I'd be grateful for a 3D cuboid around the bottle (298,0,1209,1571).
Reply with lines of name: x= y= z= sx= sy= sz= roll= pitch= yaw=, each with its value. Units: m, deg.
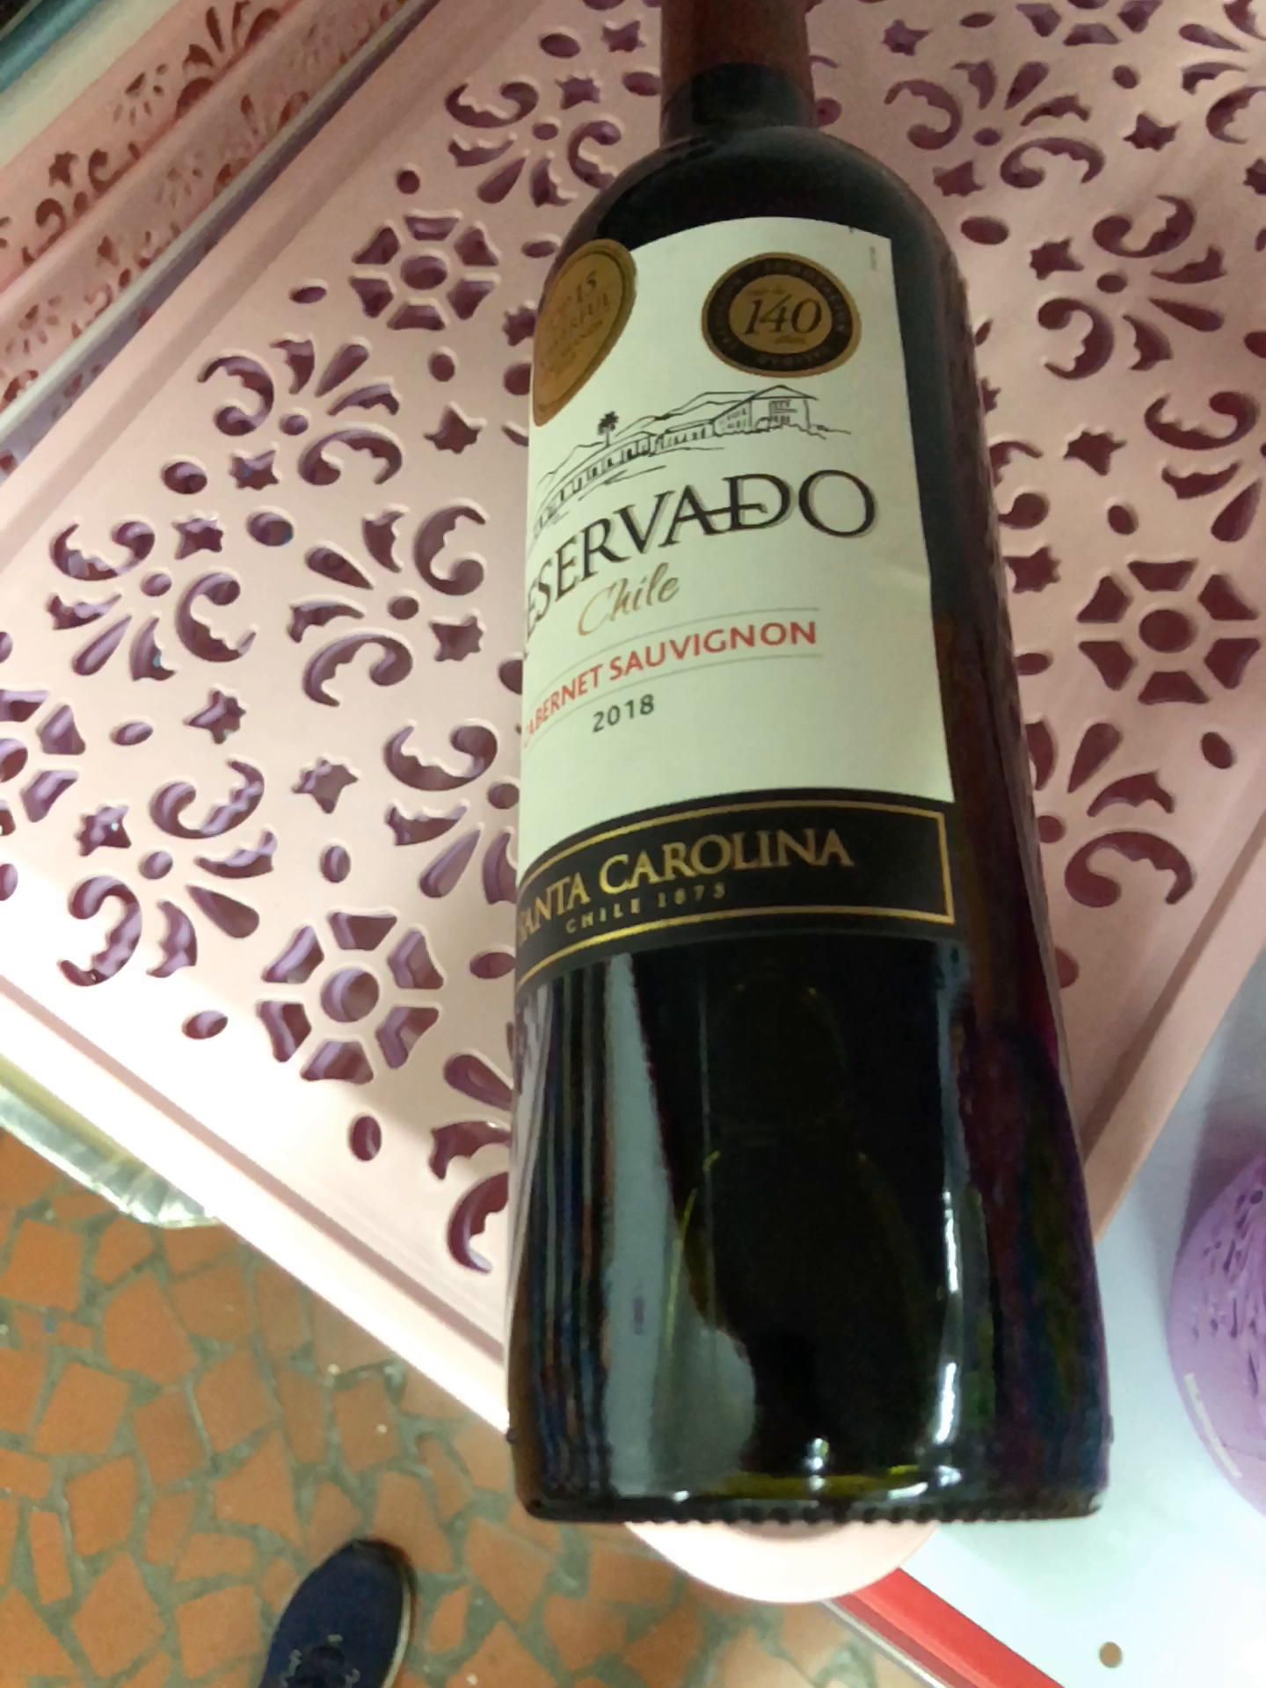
bottle: x=0.015 y=-0.071 z=0.226 sx=0.080 sy=0.060 sz=0.331 roll=-3 pitch=63 yaw=7
